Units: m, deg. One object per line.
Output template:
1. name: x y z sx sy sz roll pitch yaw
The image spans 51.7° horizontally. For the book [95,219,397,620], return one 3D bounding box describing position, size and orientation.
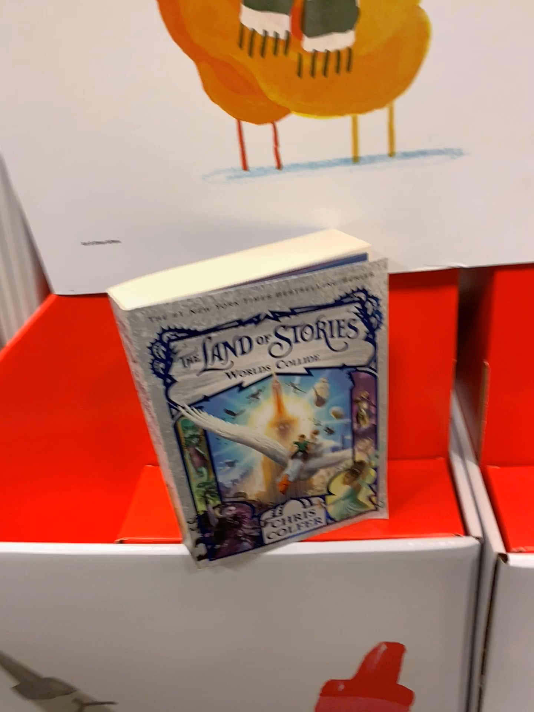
1. book: -0.001 0.038 0.320 0.130 0.193 0.065 -21 32 -17
